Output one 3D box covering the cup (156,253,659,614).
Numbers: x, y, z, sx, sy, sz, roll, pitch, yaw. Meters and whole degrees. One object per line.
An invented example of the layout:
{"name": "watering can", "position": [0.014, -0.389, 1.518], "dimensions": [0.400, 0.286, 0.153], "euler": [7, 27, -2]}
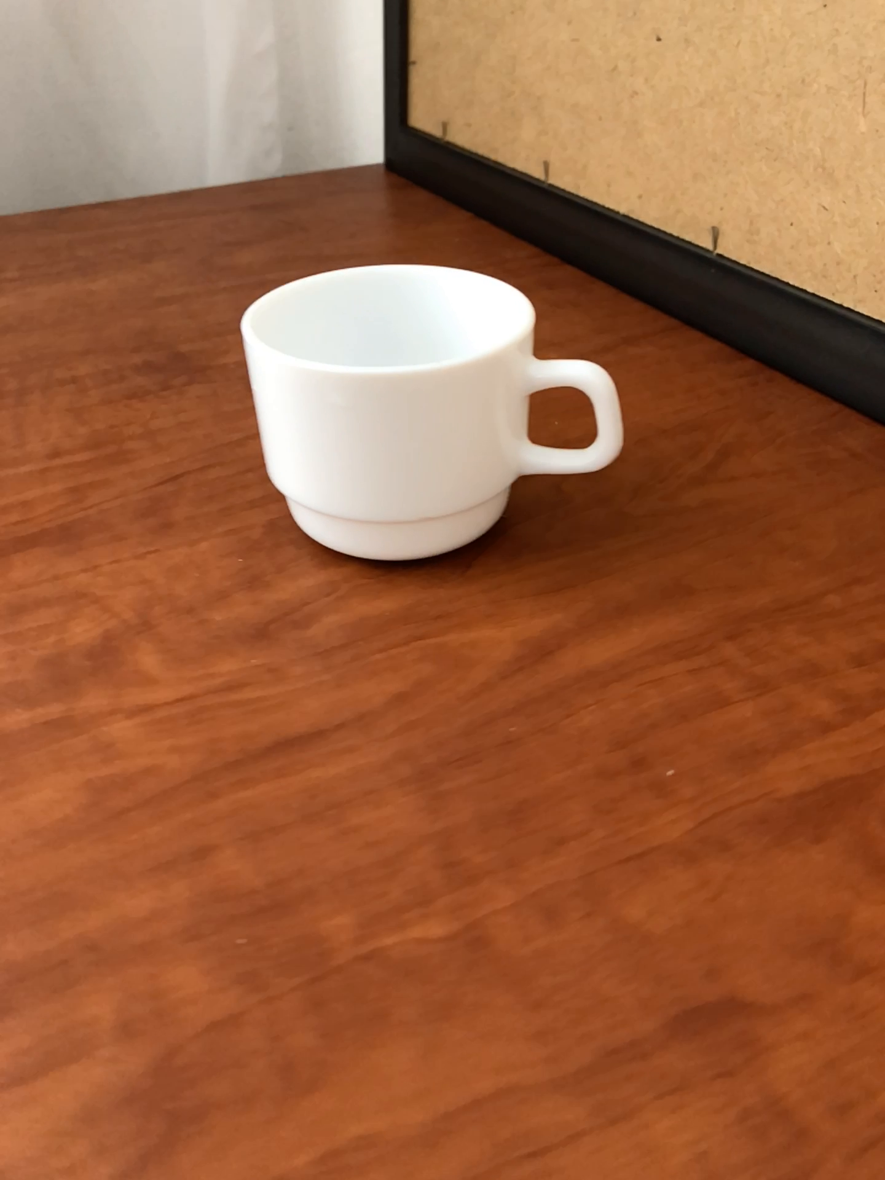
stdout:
{"name": "cup", "position": [-0.005, -0.053, 0.294], "dimensions": [0.120, 0.060, 0.087], "euler": [11, 37, 16]}
